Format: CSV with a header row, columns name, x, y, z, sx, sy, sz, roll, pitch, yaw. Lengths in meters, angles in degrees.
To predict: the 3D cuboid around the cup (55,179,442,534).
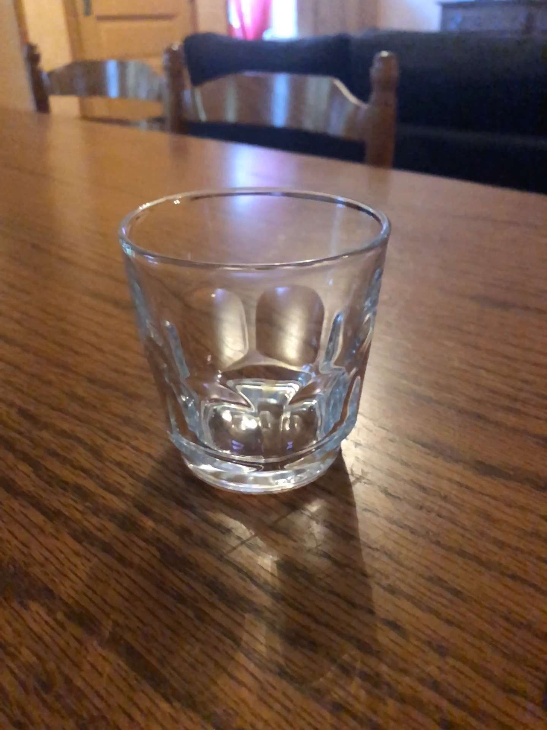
name,x,y,z,sx,sy,sz,roll,pitch,yaw
cup,-0.004,-0.013,0.199,0.082,0.069,0.083,-1,29,0
